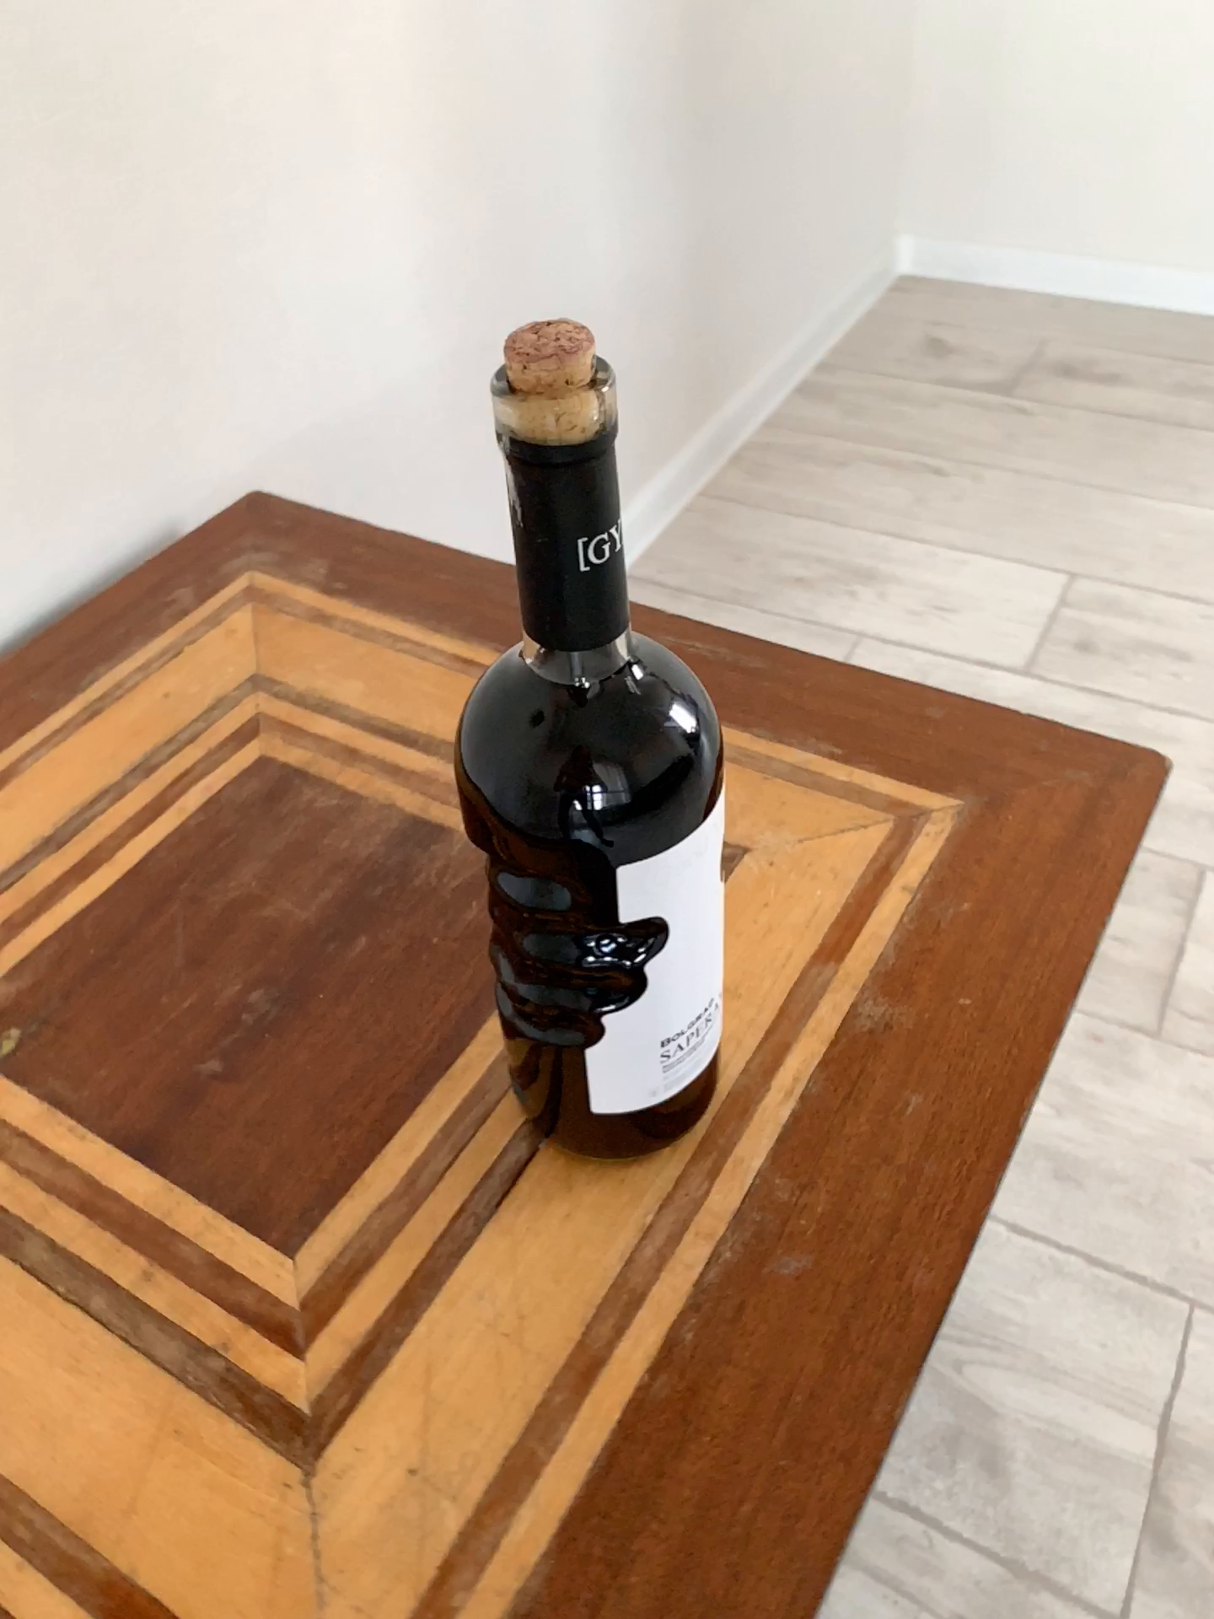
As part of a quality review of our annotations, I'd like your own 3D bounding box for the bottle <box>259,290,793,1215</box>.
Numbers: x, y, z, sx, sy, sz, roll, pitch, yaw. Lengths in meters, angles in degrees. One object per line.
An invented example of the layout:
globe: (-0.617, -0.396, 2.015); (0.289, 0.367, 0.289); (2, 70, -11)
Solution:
bottle: (-0.008, -0.001, 0.385); (0.090, 0.269, 0.090); (-3, 43, 3)
